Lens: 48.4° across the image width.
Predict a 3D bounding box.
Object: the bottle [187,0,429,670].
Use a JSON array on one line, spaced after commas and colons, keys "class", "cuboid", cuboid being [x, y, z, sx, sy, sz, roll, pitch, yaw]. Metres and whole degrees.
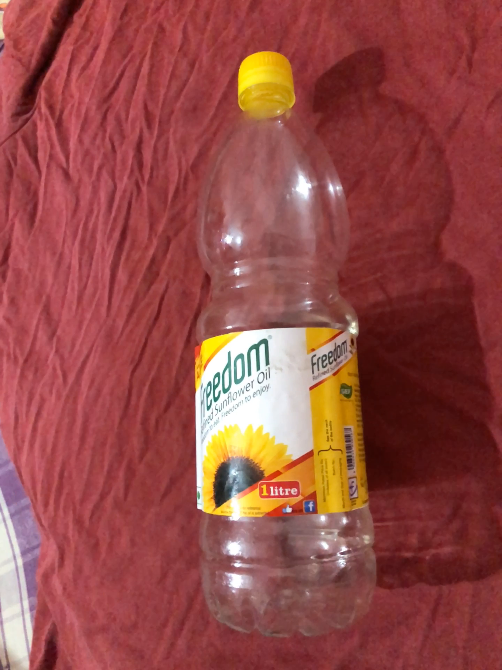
[{"class": "bottle", "cuboid": [0.024, -0.003, 0.256, 0.080, 0.060, 0.270, -6, 81, 24]}]
